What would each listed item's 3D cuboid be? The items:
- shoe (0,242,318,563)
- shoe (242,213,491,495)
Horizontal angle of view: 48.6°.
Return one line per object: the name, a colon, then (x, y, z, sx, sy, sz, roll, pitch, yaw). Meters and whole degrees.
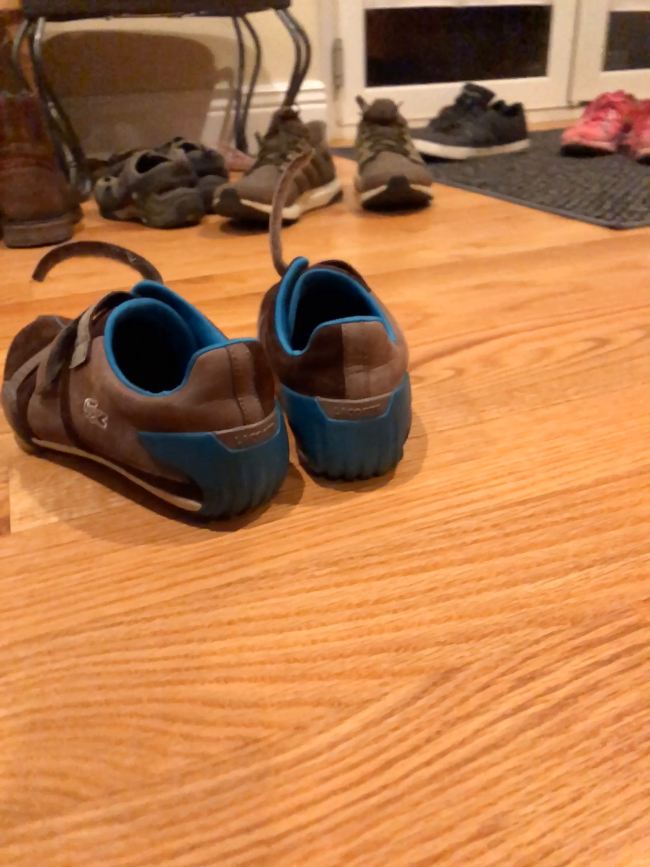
shoe: (-0.129, -0.039, 0.421, 0.102, 0.091, 0.256, -25, 34, -36)
shoe: (0.010, -0.072, 0.476, 0.102, 0.091, 0.256, -7, 28, -8)
